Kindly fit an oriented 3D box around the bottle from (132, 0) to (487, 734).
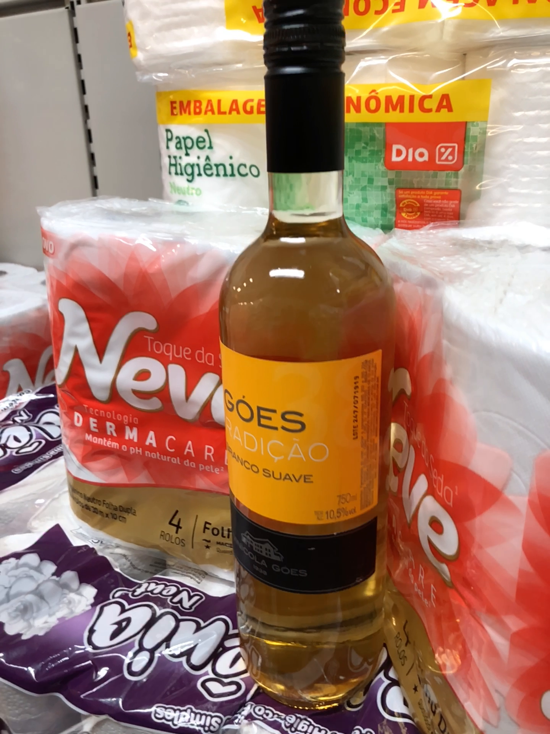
[{"bbox_3d":[0.019,0.010,0.274,0.090,0.318,0.090,-3,20,1],"label":"bottle"}]
